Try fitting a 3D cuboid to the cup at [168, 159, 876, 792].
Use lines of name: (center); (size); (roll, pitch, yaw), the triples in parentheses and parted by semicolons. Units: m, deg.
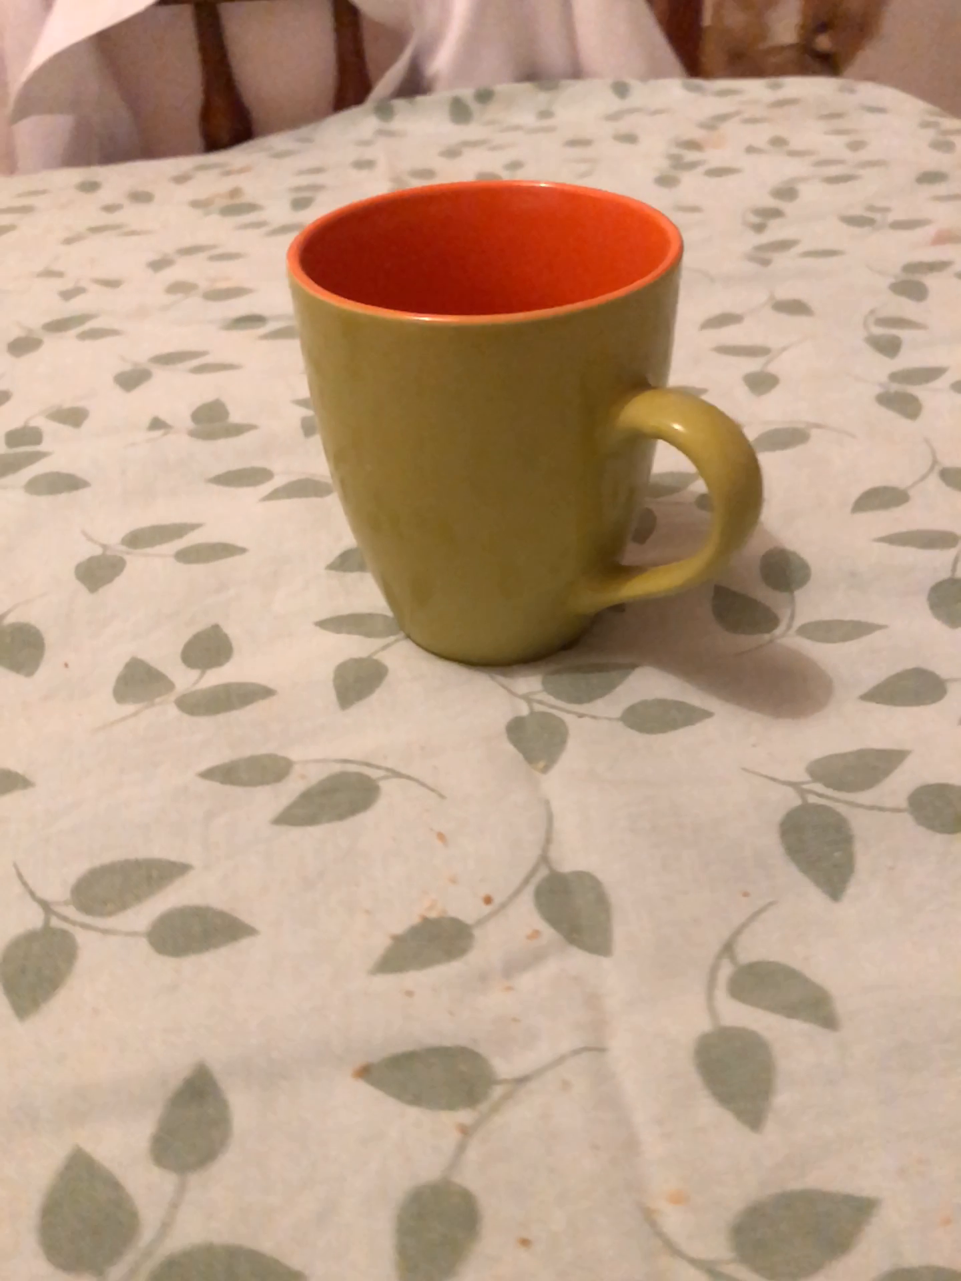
cup: (0.010, -0.048, 0.255); (0.120, 0.089, 0.091); (24, 46, 30)
